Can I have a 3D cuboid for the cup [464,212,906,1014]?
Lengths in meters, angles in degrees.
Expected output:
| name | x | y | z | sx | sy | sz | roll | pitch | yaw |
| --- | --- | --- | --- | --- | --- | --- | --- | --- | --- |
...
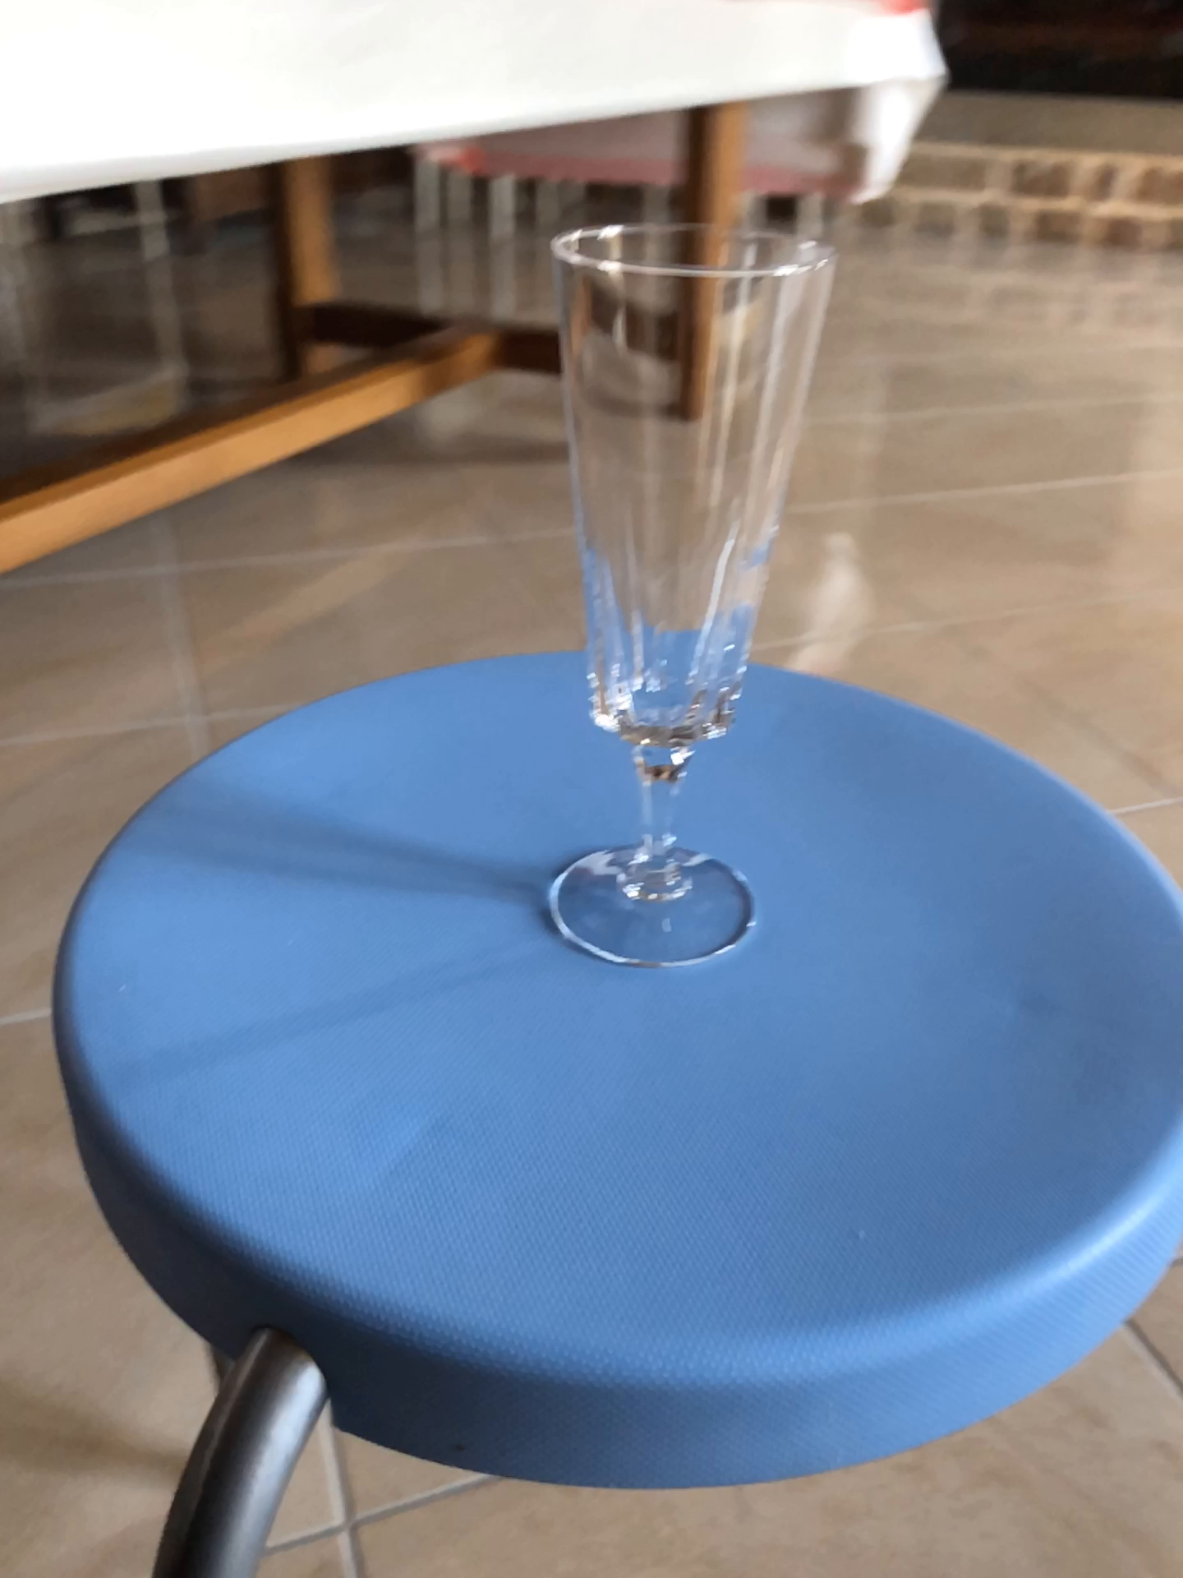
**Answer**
| name | x | y | z | sx | sy | sz | roll | pitch | yaw |
| --- | --- | --- | --- | --- | --- | --- | --- | --- | --- |
| cup | 0.014 | -0.041 | 0.324 | 0.080 | 0.179 | 0.070 | -4 | 30 | -10 |
